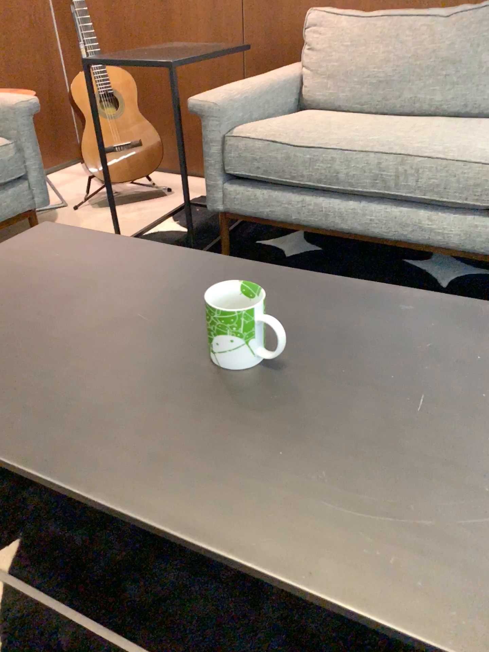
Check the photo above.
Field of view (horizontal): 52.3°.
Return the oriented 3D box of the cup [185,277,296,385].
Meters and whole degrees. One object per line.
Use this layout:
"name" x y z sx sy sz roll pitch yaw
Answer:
"cup" -0.002 0.003 0.659 0.120 0.090 0.090 9 35 17
